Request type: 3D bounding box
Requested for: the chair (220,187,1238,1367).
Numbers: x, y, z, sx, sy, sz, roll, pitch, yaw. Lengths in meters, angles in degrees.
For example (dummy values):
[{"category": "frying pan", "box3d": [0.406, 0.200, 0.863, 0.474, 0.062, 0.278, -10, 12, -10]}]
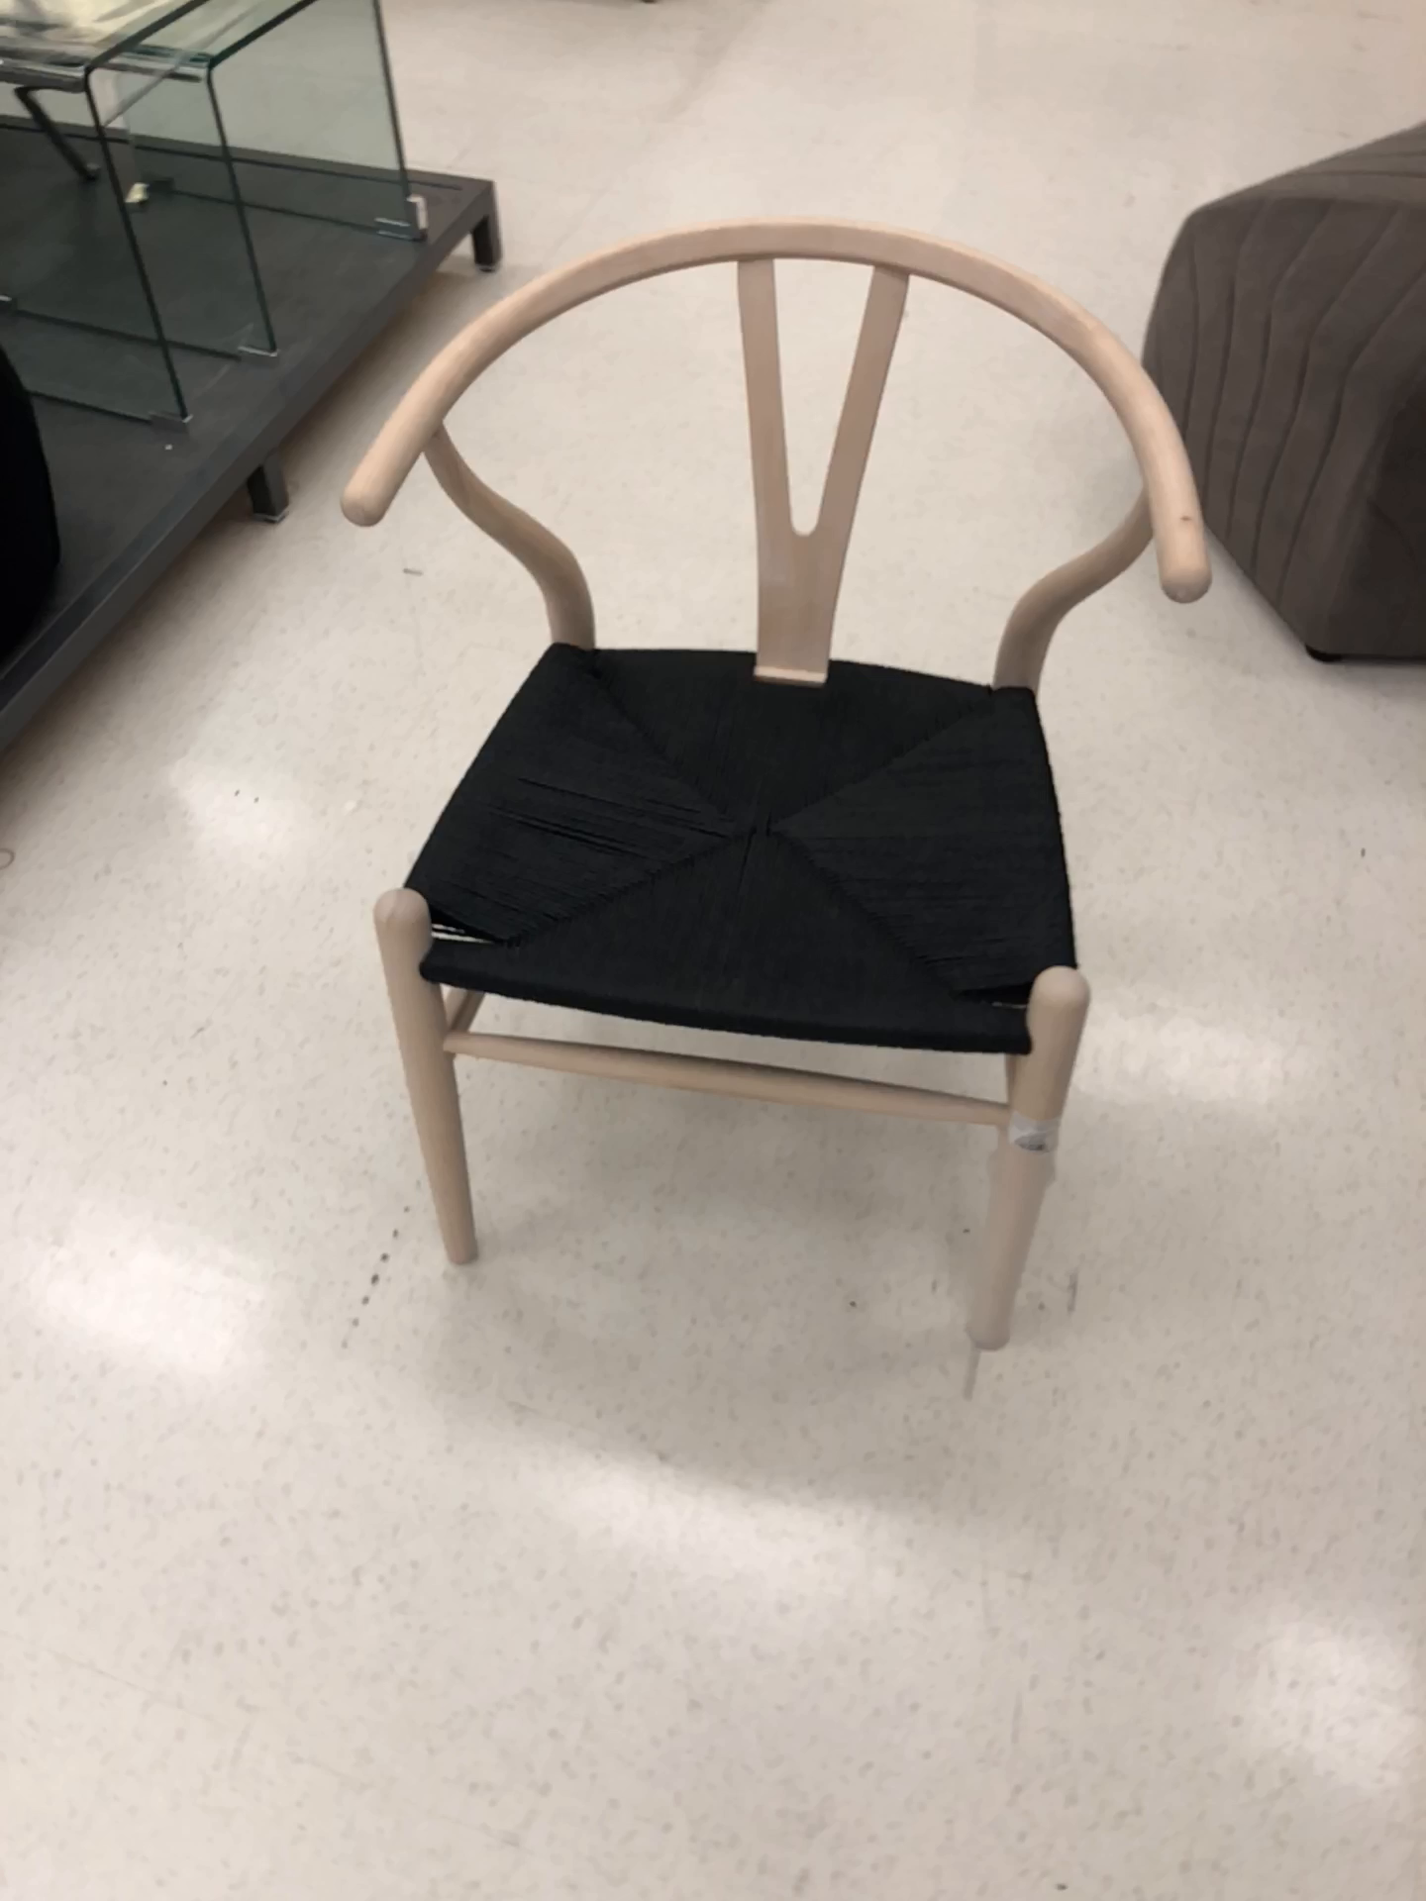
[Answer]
[{"category": "chair", "box3d": [0.053, -0.120, 1.307, 0.559, 0.728, 0.557, 8, 50, 7]}]
